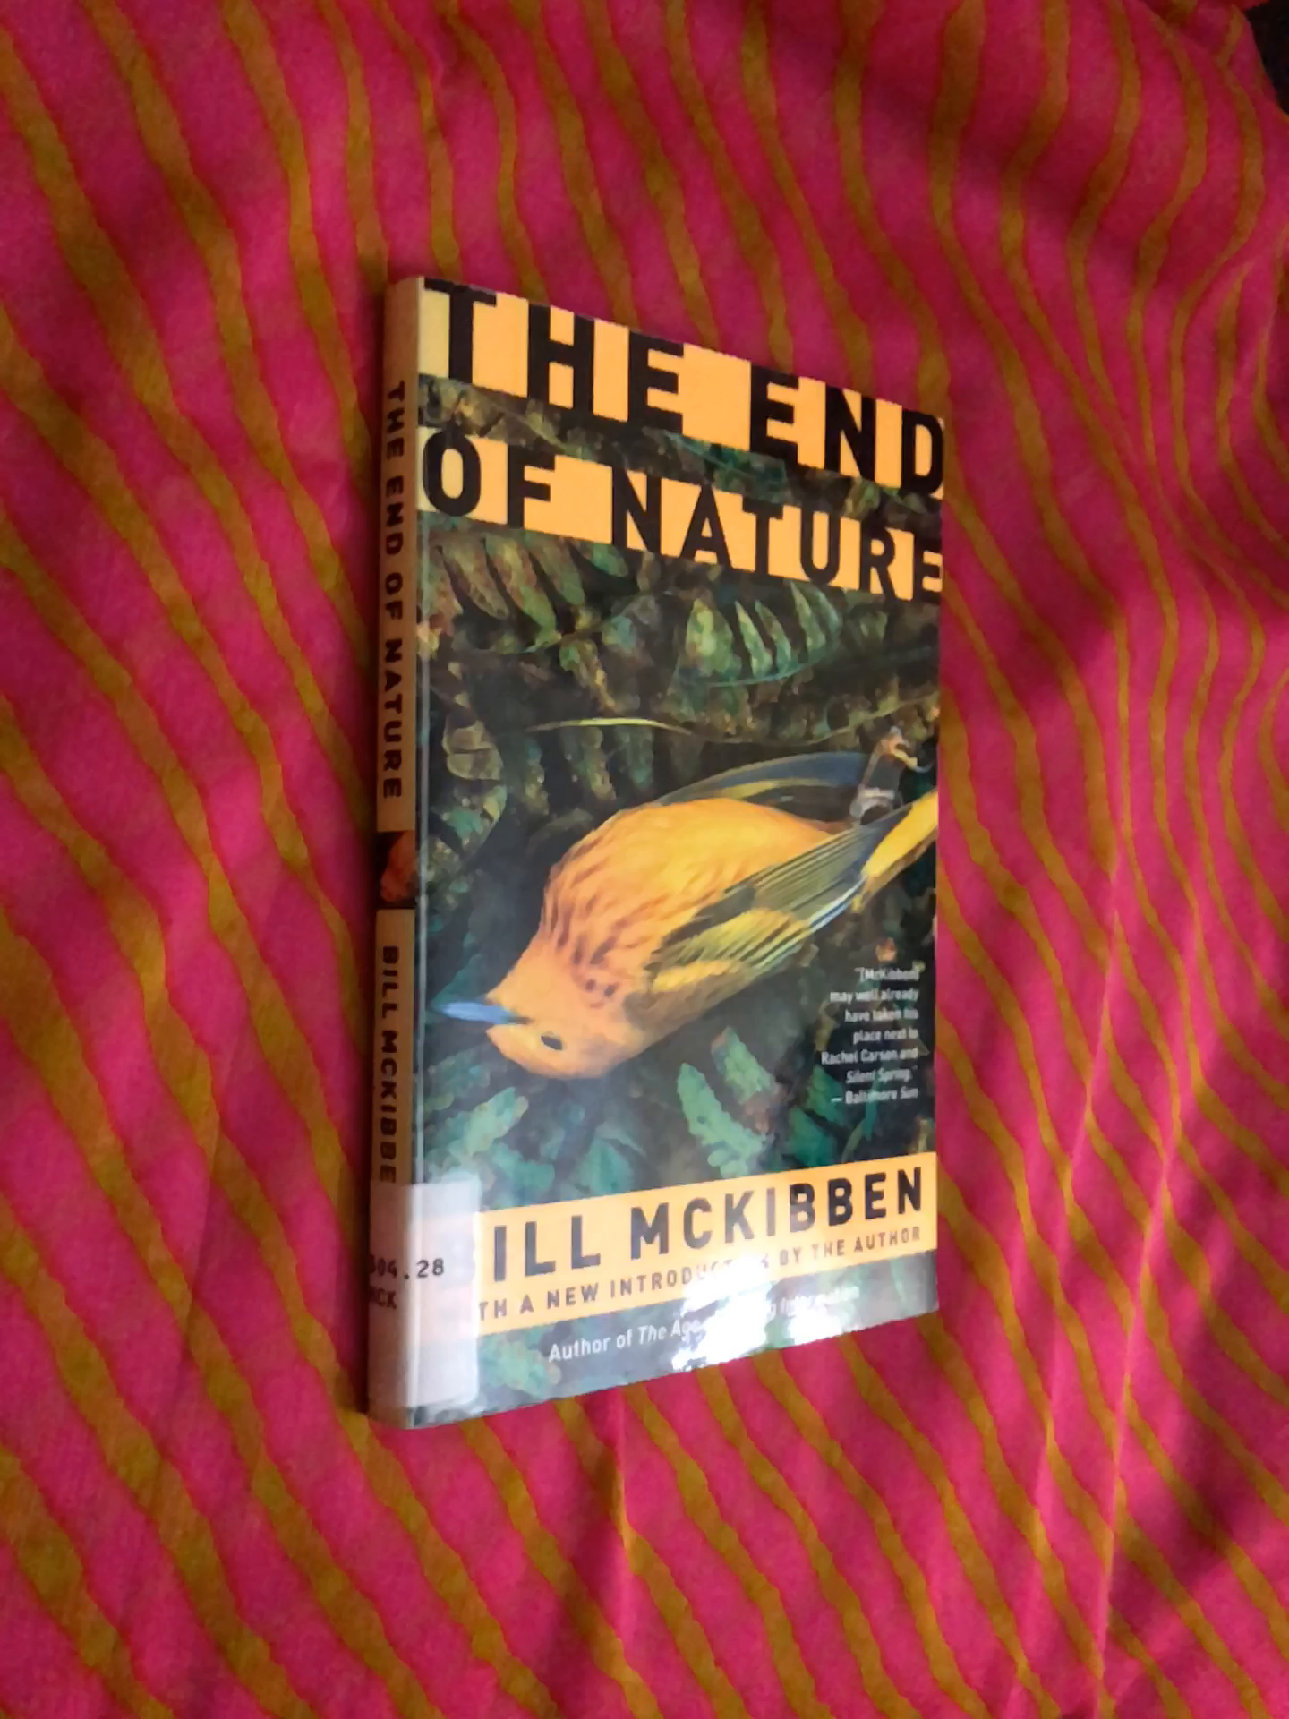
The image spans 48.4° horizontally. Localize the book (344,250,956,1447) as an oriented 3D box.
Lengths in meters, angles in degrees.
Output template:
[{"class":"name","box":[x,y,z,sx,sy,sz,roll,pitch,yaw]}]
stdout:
[{"class":"book","box":[0.008,0.000,0.282,0.132,0.020,0.194,2,90,-39]}]
